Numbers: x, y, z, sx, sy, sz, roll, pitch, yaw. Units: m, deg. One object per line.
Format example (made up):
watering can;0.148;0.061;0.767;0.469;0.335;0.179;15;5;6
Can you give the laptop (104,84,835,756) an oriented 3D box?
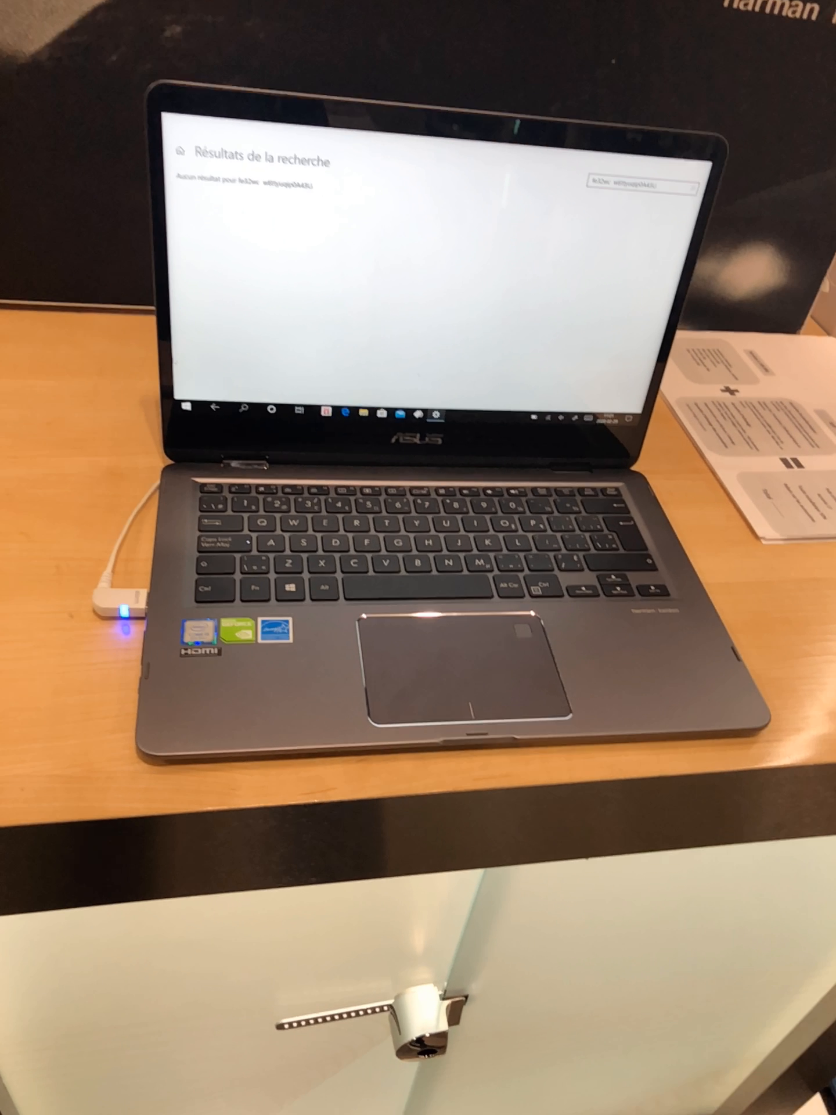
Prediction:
laptop;0.028;-0.072;0.477;0.320;0.224;0.240;0;42;-12
